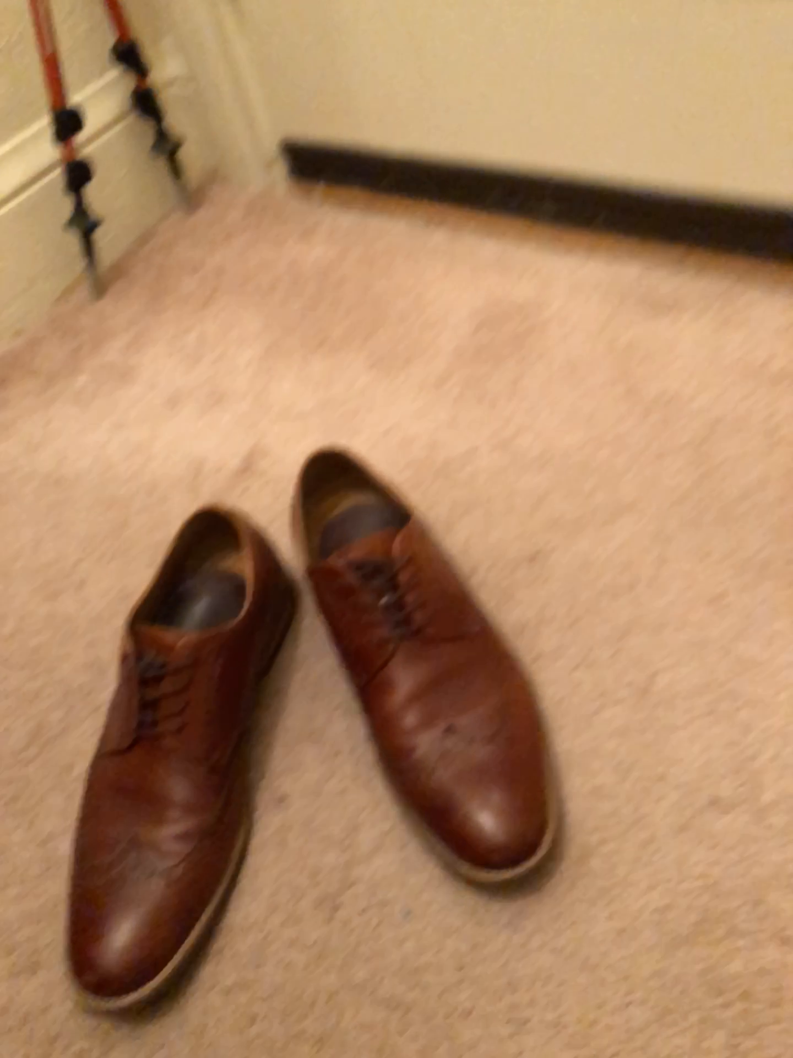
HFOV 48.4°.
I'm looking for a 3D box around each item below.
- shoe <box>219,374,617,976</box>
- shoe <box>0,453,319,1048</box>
[{"bbox_3d":[0.000,0.063,0.512,0.115,0.114,0.312,-22,49,-4],"label":"shoe"},{"bbox_3d":[-0.148,0.109,0.520,0.115,0.114,0.311,0,51,15],"label":"shoe"}]
